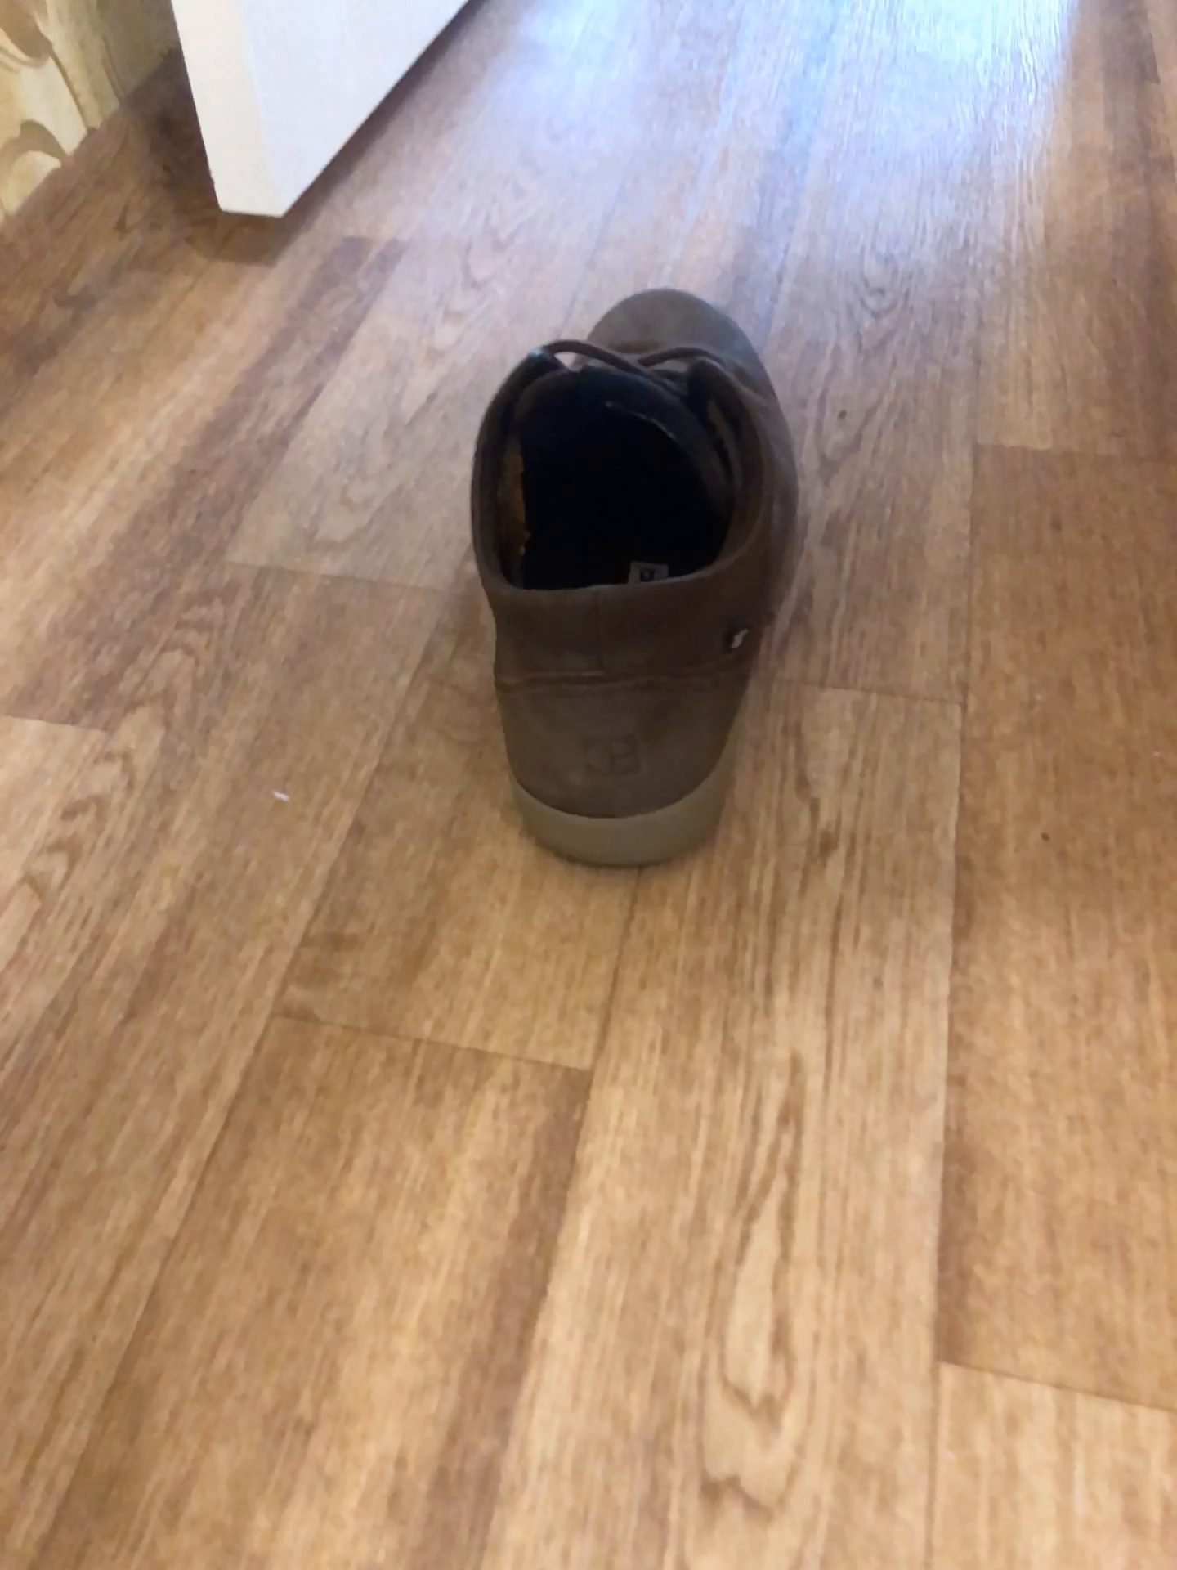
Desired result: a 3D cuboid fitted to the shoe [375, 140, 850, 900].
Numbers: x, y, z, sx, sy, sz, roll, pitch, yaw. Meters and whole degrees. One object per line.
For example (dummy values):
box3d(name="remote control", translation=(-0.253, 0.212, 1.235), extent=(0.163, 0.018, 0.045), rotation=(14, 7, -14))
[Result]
box3d(name="shoe", translation=(0.023, -0.106, 0.439), extent=(0.100, 0.100, 0.271), rotation=(8, 50, 8))
